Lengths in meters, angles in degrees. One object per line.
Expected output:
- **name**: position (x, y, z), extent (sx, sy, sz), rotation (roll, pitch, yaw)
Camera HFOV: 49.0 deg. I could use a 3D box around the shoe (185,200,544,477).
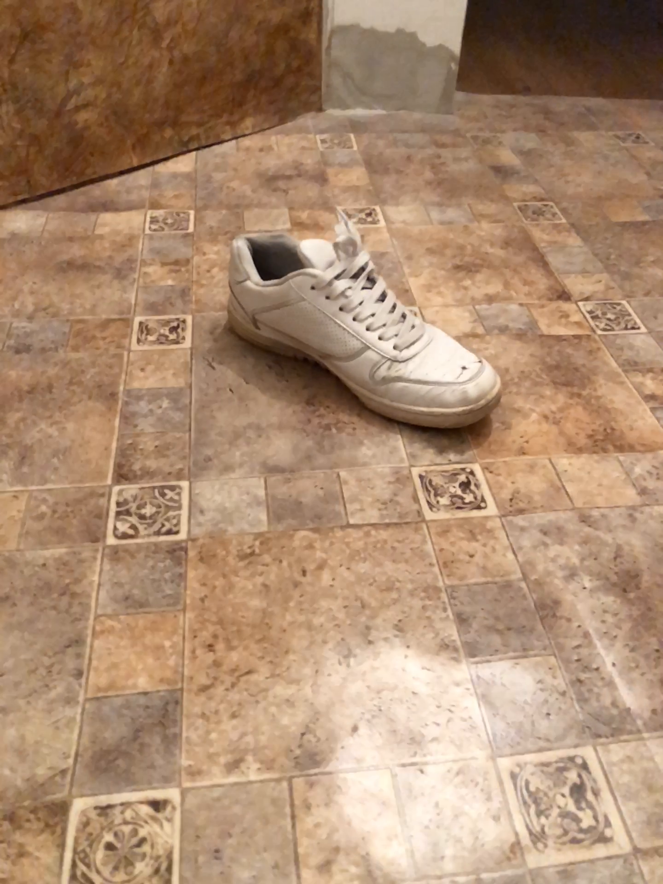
- **shoe**: position (0.020, -0.103, 0.643), extent (0.281, 0.109, 0.123), rotation (27, 47, 25)
